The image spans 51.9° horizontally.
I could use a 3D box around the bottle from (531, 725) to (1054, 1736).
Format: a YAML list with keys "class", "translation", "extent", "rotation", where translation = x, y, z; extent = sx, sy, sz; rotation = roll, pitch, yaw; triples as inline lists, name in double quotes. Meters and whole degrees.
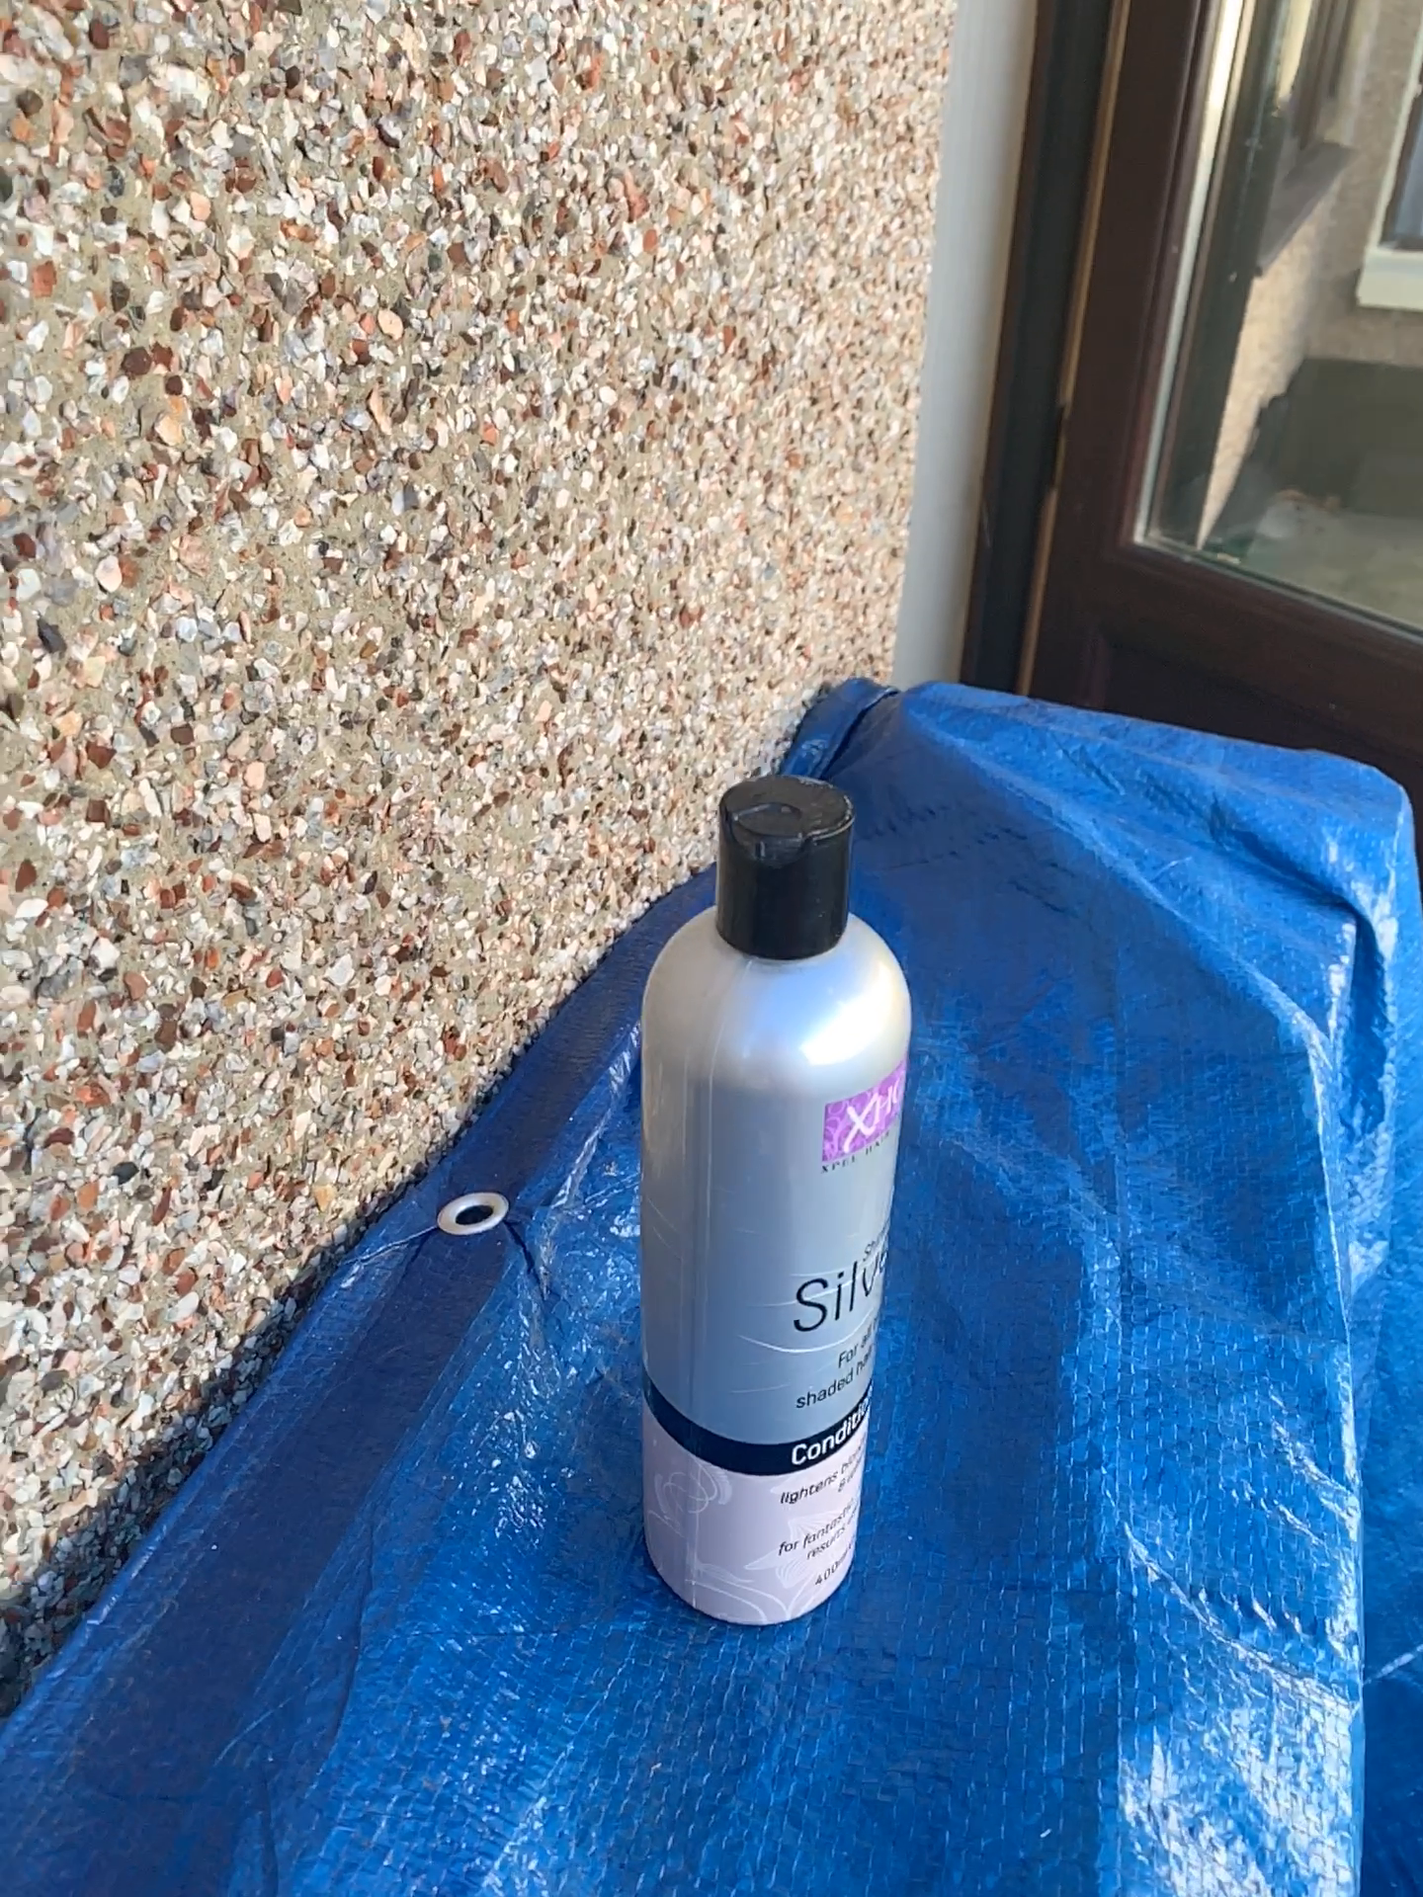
- class: "bottle"
  translation: [0.013, 0.064, 0.305]
  extent: [0.060, 0.198, 0.070]
  rotation: [24, 40, 30]
